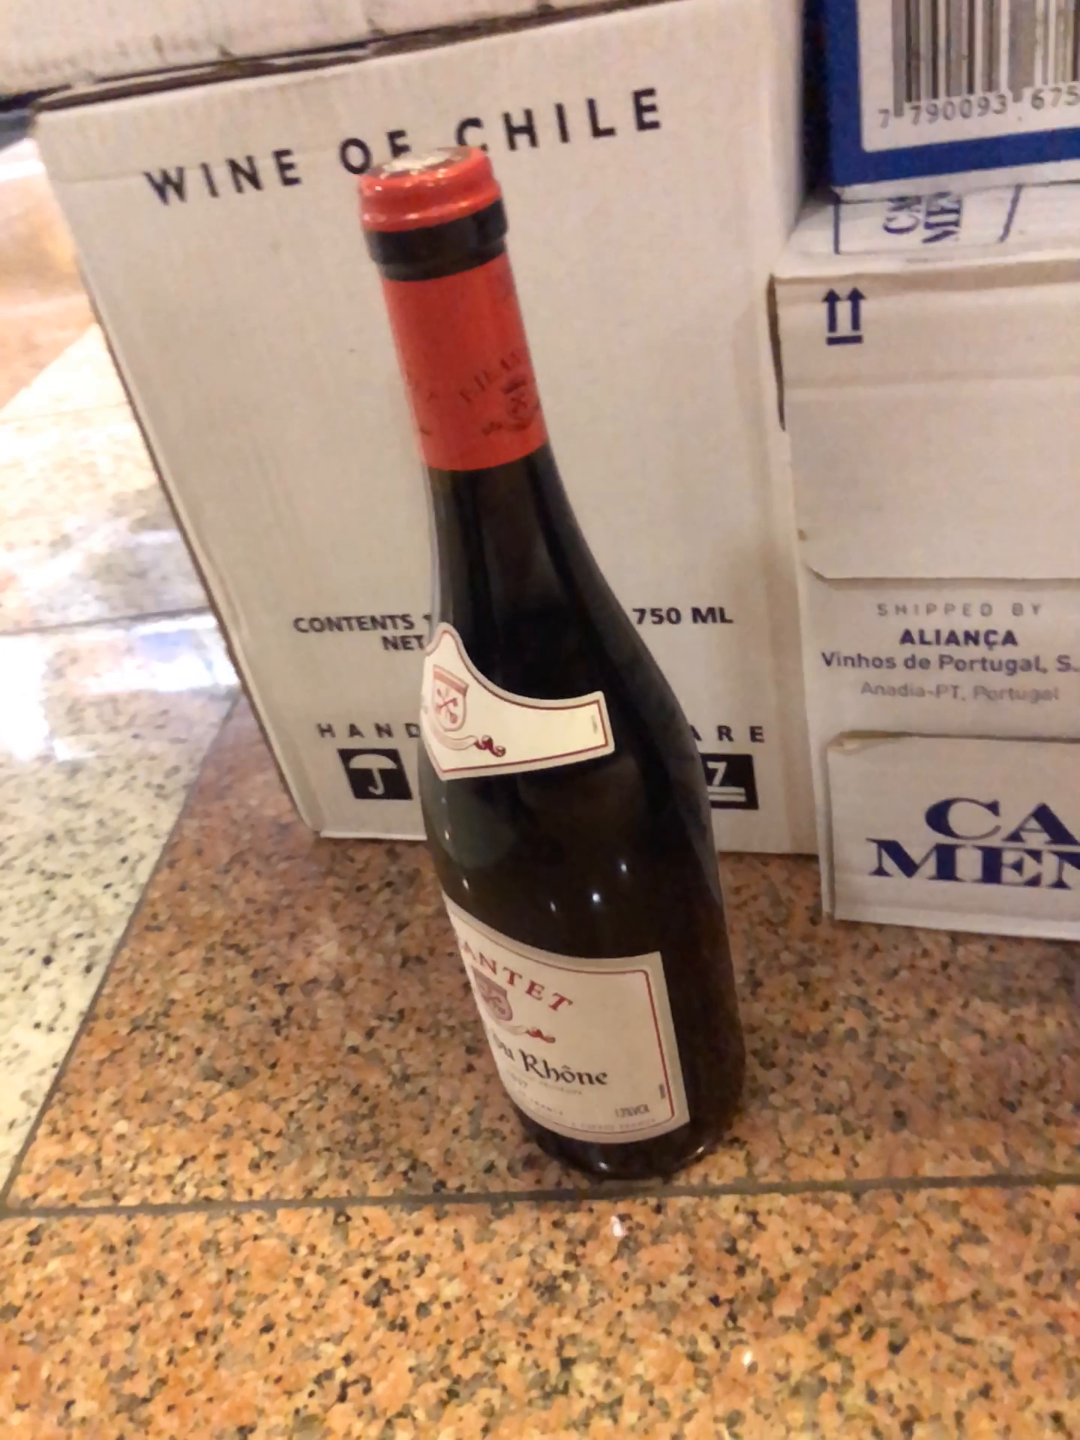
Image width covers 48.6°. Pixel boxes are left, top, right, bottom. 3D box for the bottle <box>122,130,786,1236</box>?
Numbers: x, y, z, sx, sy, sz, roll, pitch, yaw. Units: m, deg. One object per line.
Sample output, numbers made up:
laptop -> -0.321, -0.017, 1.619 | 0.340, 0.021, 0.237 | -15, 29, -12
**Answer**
bottle -> -0.003, 0.006, 0.328 | 0.090, 0.288, 0.080 | 22, 48, 39
